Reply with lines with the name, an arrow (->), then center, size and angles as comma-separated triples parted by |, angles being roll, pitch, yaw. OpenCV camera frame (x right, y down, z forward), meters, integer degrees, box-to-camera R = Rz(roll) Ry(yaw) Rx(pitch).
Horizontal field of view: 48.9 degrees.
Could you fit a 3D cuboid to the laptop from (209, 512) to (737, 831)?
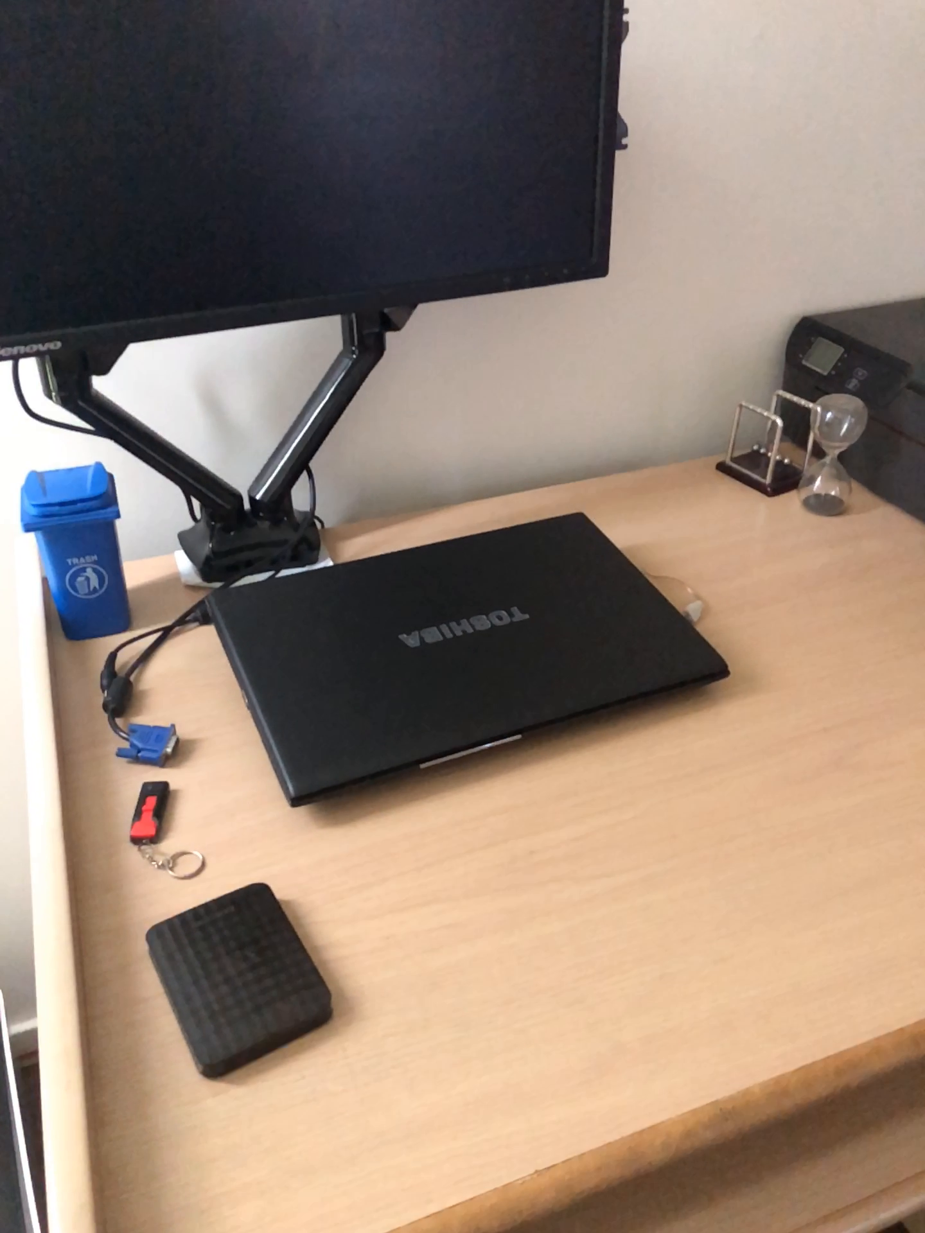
laptop -> 0.003, 0.025, 0.881 | 0.380, 0.029, 0.258 | -14, 42, -21
